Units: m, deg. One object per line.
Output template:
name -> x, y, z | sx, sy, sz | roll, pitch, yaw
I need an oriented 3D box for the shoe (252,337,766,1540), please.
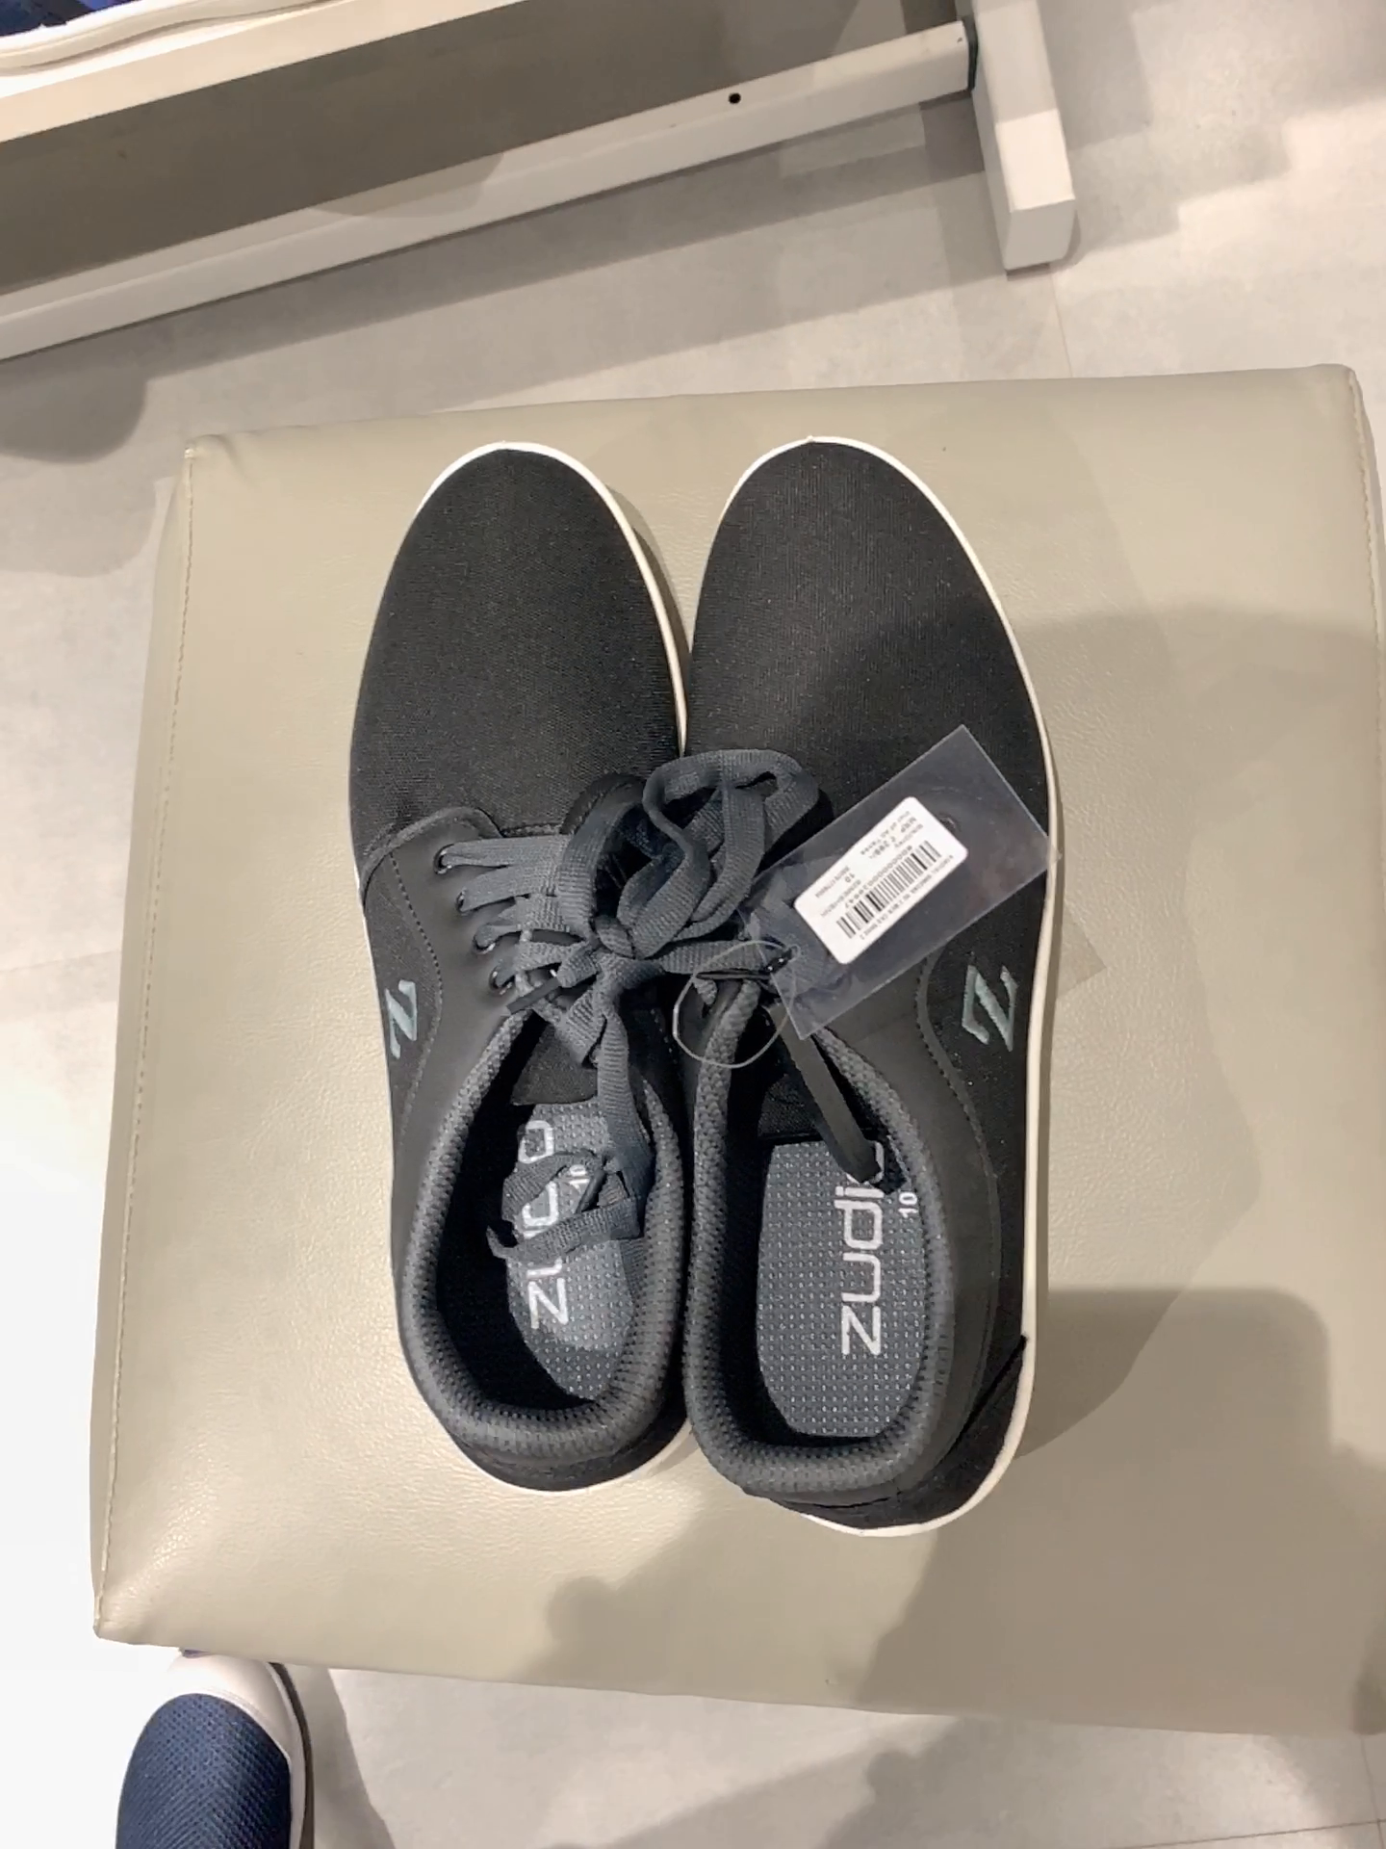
shoe -> -0.044, 0.004, 0.373 | 0.100, 0.100, 0.270 | -5, 81, 7

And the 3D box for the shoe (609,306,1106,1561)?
shoe -> 0.044, 0.003, 0.373 | 0.100, 0.100, 0.280 | -4, 81, 14
